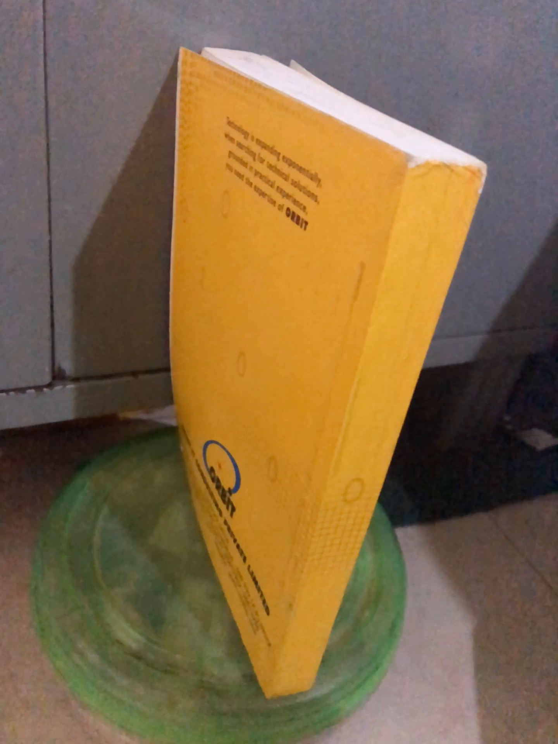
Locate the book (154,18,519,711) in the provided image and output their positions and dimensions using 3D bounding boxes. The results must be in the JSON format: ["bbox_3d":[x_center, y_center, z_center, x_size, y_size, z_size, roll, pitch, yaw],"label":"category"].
[{"bbox_3d":[-0.013,-0.010,0.326,0.040,0.279,0.221,-4,35,-23],"label":"book"}]
